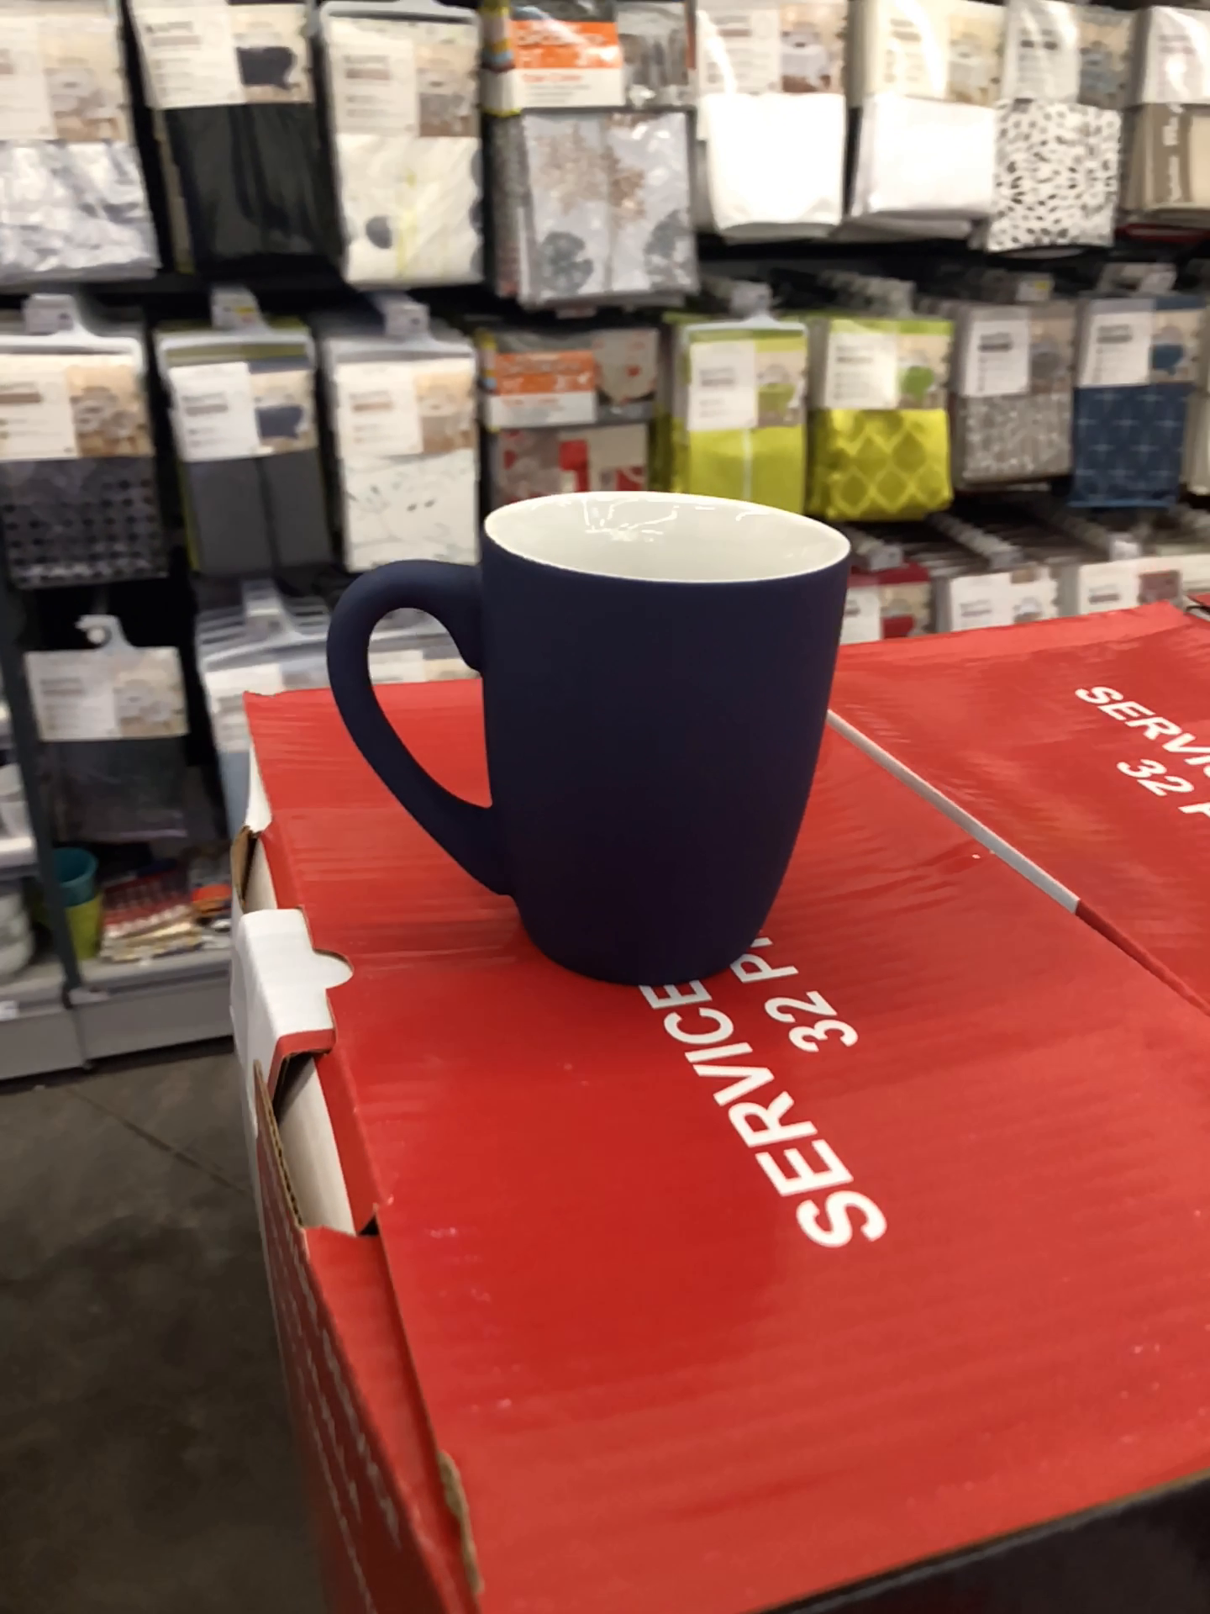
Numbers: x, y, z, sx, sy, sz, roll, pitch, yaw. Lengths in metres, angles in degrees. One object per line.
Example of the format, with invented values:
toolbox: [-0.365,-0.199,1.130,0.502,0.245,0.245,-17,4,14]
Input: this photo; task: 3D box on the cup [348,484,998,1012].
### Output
cup: [0.005,-0.019,0.299,0.121,0.088,0.091,-1,22,-11]
